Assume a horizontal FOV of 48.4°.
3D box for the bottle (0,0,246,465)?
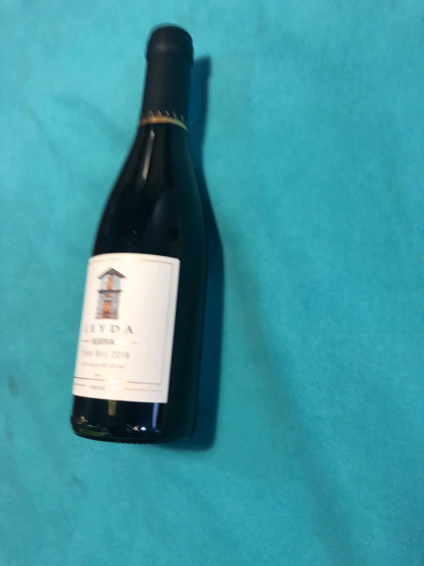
[{"bbox_3d":[-0.044,-0.054,0.247,0.070,0.080,0.260,0,81,35],"label":"bottle"}]
